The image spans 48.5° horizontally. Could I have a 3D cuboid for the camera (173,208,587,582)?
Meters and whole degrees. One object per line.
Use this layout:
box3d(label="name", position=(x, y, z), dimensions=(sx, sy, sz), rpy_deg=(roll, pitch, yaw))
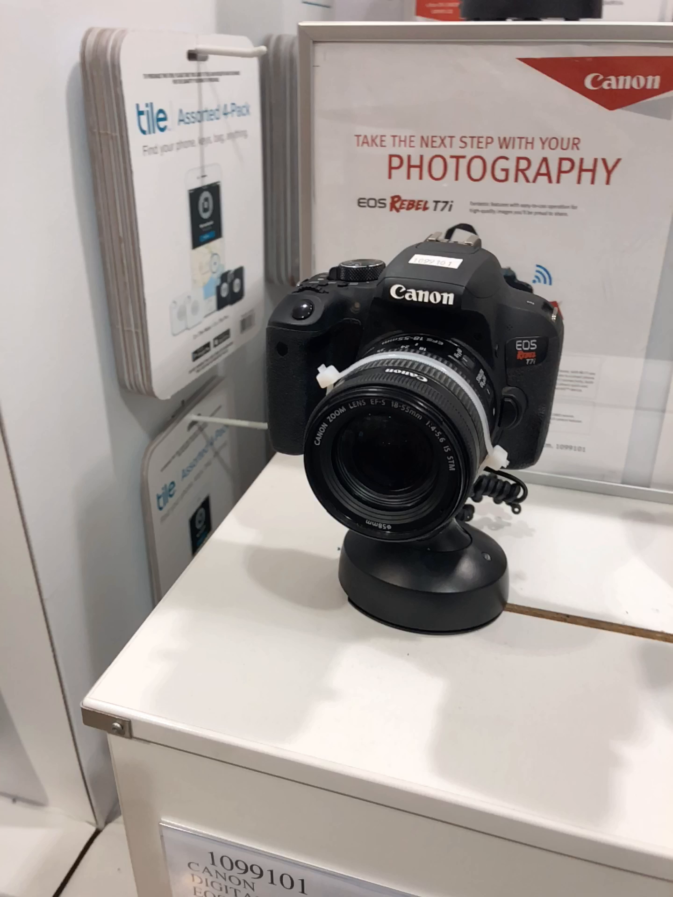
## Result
box3d(label="camera", position=(0.025, -0.034, 0.310), dimensions=(0.130, 0.100, 0.120), rpy_deg=(10, 29, 17))
